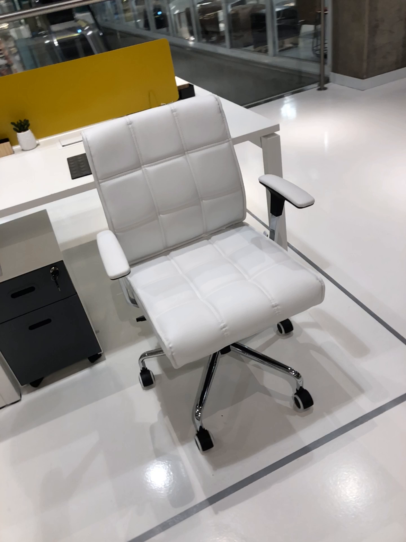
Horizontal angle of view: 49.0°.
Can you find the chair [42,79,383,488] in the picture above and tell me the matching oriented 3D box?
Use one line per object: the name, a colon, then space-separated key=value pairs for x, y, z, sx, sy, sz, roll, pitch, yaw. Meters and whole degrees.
chair: x=0.036 y=0.000 z=1.369 sx=0.651 sy=0.883 sz=0.634 roll=-23 pitch=36 yaw=-16
